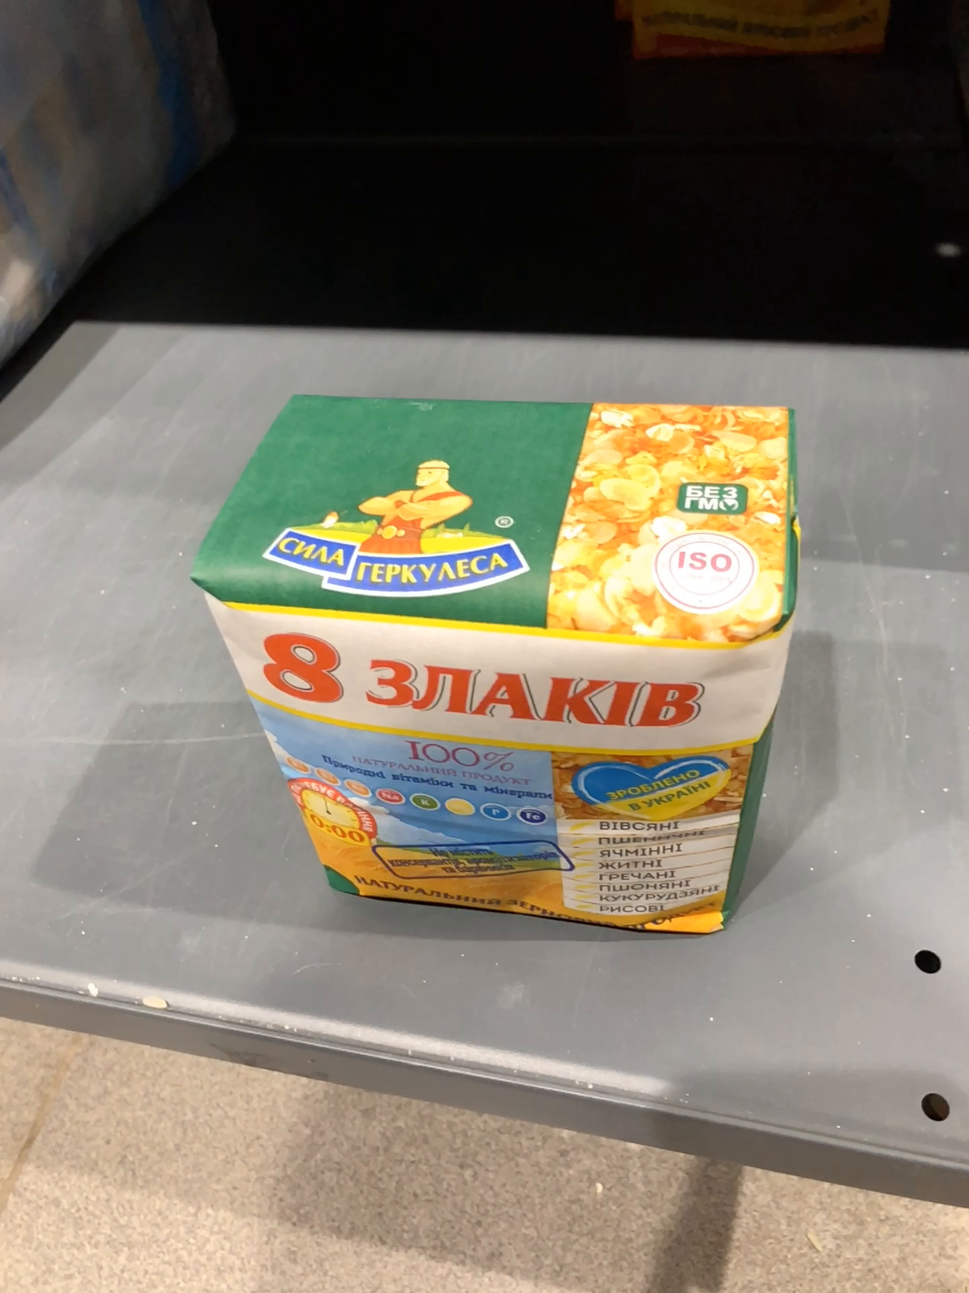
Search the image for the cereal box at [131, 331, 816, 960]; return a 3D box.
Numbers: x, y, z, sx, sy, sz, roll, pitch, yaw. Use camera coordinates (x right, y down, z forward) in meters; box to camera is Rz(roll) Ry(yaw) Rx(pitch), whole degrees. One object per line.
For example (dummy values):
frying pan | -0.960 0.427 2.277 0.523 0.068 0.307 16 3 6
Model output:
cereal box | 0.007 0.004 0.255 0.120 0.129 0.071 5 49 12
